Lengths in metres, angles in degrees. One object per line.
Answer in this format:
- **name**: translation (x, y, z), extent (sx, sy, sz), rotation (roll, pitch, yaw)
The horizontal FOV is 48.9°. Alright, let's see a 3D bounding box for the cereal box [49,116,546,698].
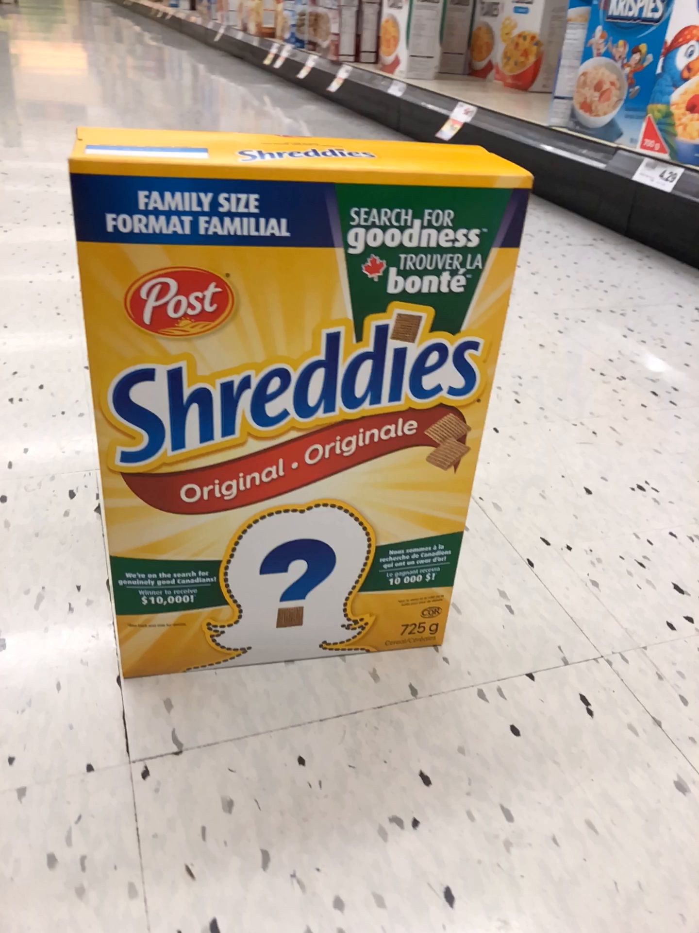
- **cereal box**: translation (-0.036, -0.015, 0.437), extent (0.210, 0.318, 0.070), rotation (-3, 35, -14)
